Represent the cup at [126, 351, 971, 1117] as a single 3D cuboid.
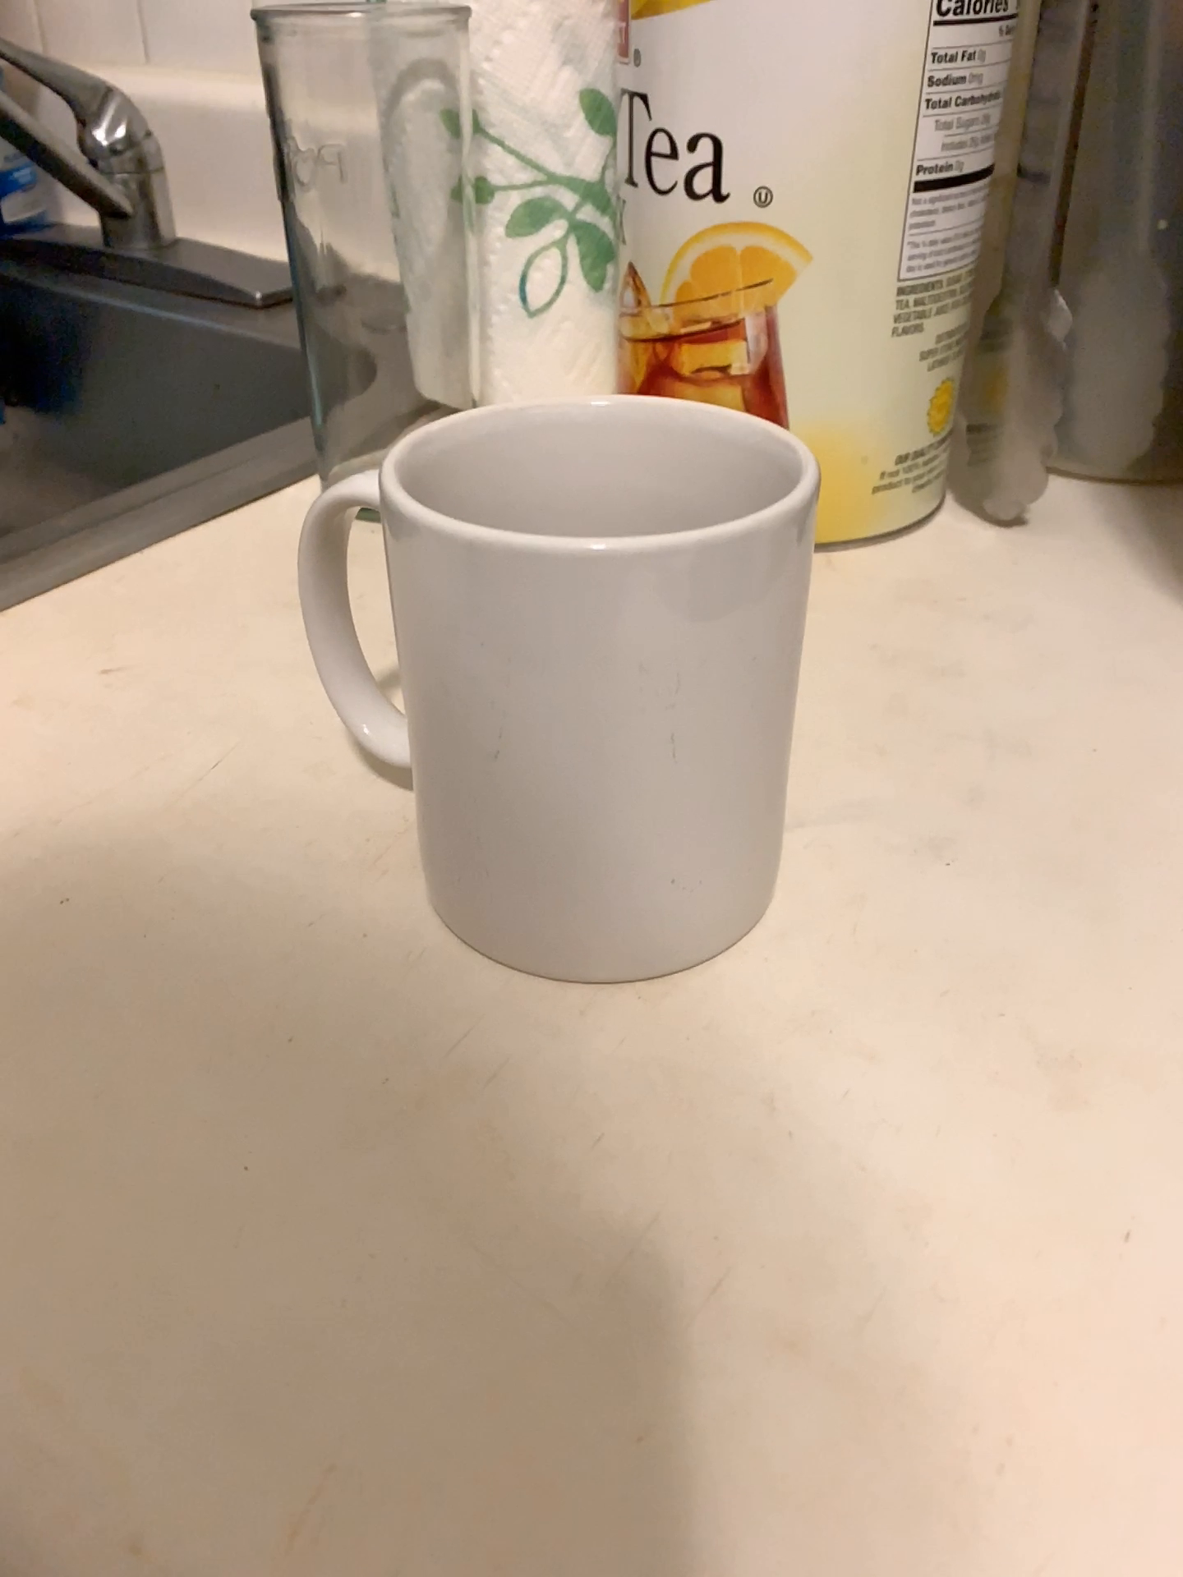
[{"bbox_3d":[-0.006,-0.021,0.271,0.140,0.109,0.090,16,37,21],"label":"cup"}]
